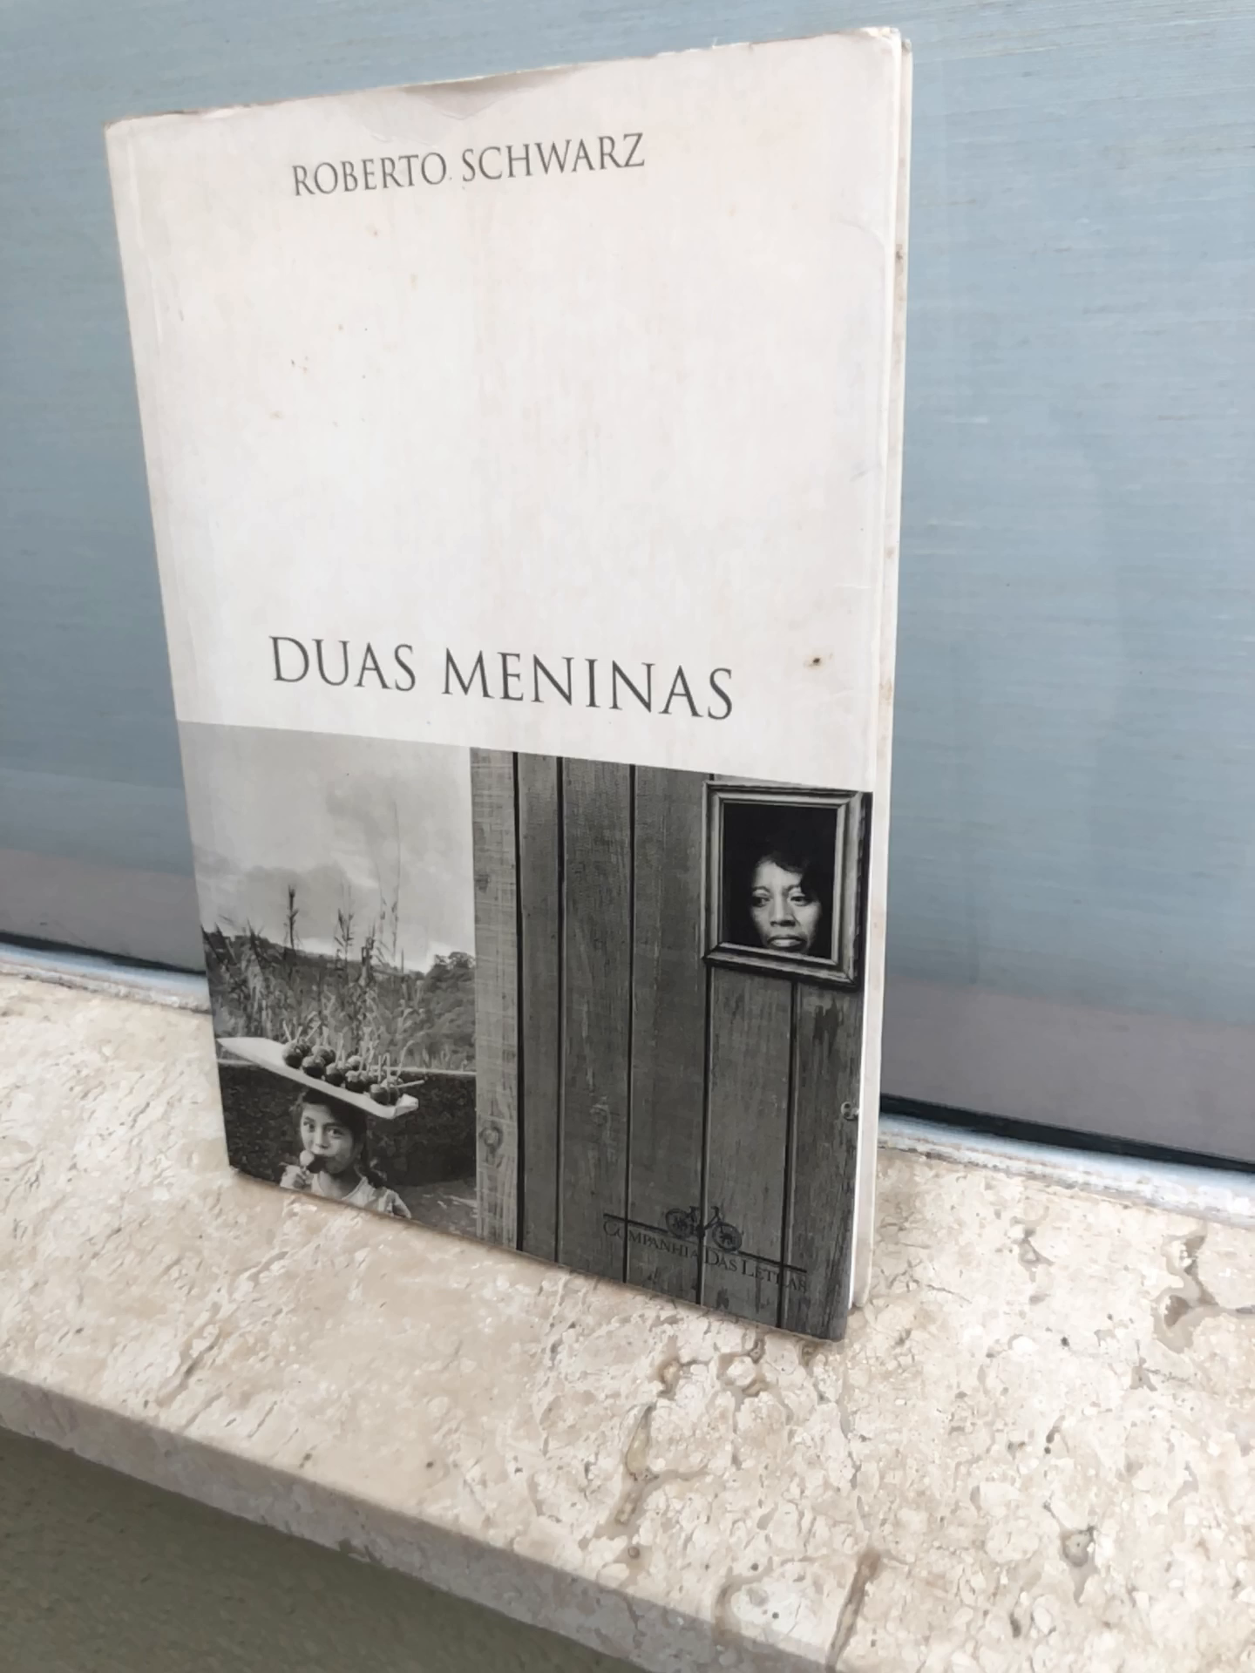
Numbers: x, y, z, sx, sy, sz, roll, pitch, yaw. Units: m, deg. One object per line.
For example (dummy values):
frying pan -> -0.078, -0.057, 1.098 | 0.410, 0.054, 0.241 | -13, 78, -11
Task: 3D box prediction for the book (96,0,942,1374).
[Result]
book -> -0.020, -0.017, 0.242 | 0.139, 0.205, 0.016 | 7, 20, 26
